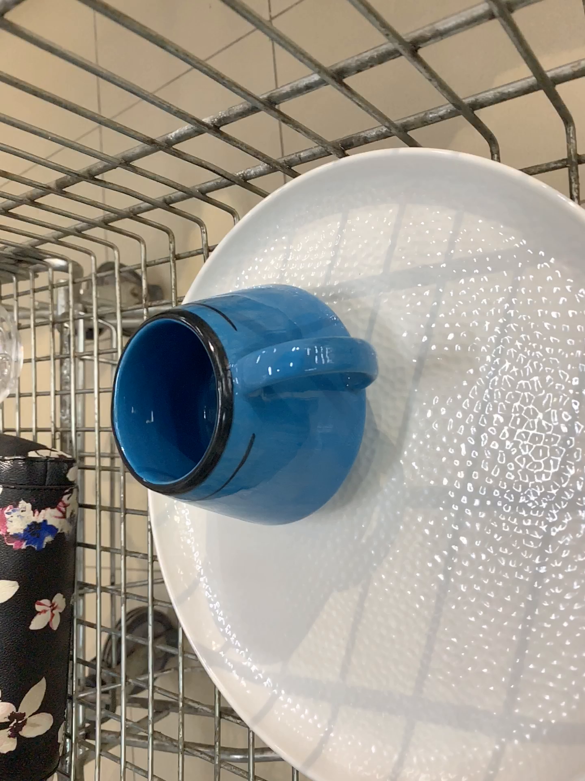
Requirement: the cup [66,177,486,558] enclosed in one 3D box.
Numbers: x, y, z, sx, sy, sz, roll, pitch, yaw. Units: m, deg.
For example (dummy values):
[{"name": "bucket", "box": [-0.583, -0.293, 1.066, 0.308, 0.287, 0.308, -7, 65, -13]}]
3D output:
[{"name": "cup", "box": [-0.011, 0.002, 0.251, 0.131, 0.090, 0.100, -21, 76, 34]}]
